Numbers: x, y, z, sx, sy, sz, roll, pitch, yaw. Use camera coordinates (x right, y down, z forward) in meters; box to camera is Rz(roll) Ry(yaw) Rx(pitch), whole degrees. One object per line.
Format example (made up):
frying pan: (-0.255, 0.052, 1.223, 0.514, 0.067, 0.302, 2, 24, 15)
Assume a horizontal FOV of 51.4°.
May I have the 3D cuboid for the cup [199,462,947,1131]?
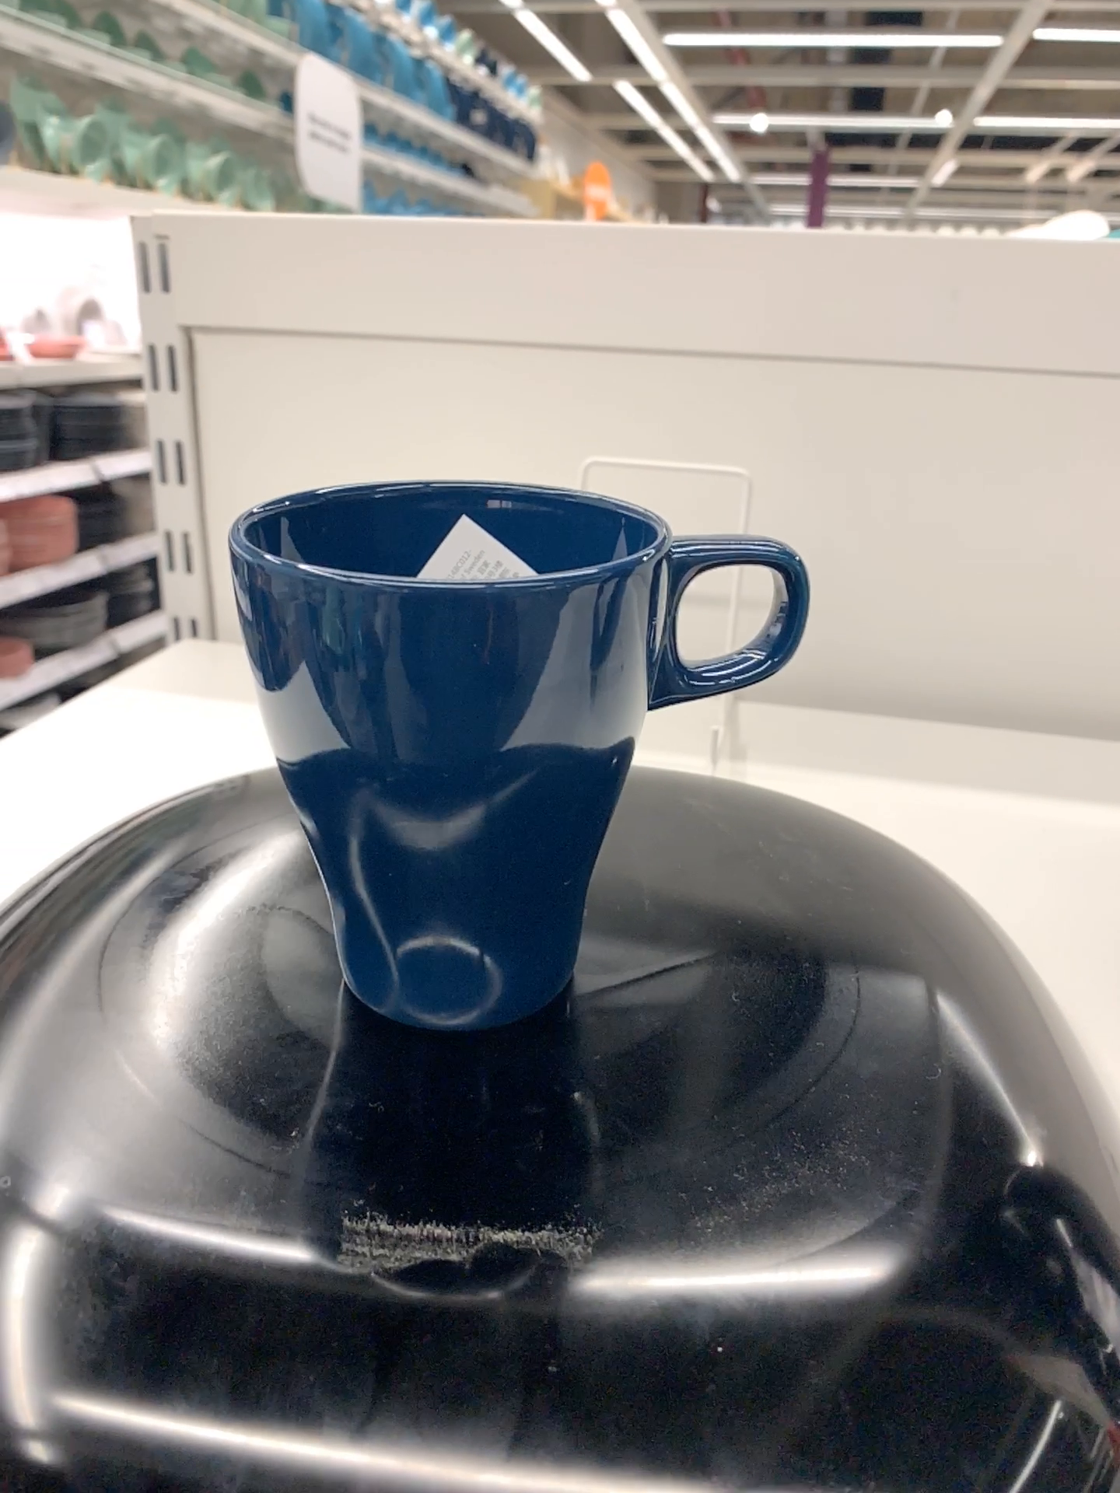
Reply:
cup: (-0.005, -0.002, 0.244, 0.120, 0.100, 0.090, -6, 22, -22)
